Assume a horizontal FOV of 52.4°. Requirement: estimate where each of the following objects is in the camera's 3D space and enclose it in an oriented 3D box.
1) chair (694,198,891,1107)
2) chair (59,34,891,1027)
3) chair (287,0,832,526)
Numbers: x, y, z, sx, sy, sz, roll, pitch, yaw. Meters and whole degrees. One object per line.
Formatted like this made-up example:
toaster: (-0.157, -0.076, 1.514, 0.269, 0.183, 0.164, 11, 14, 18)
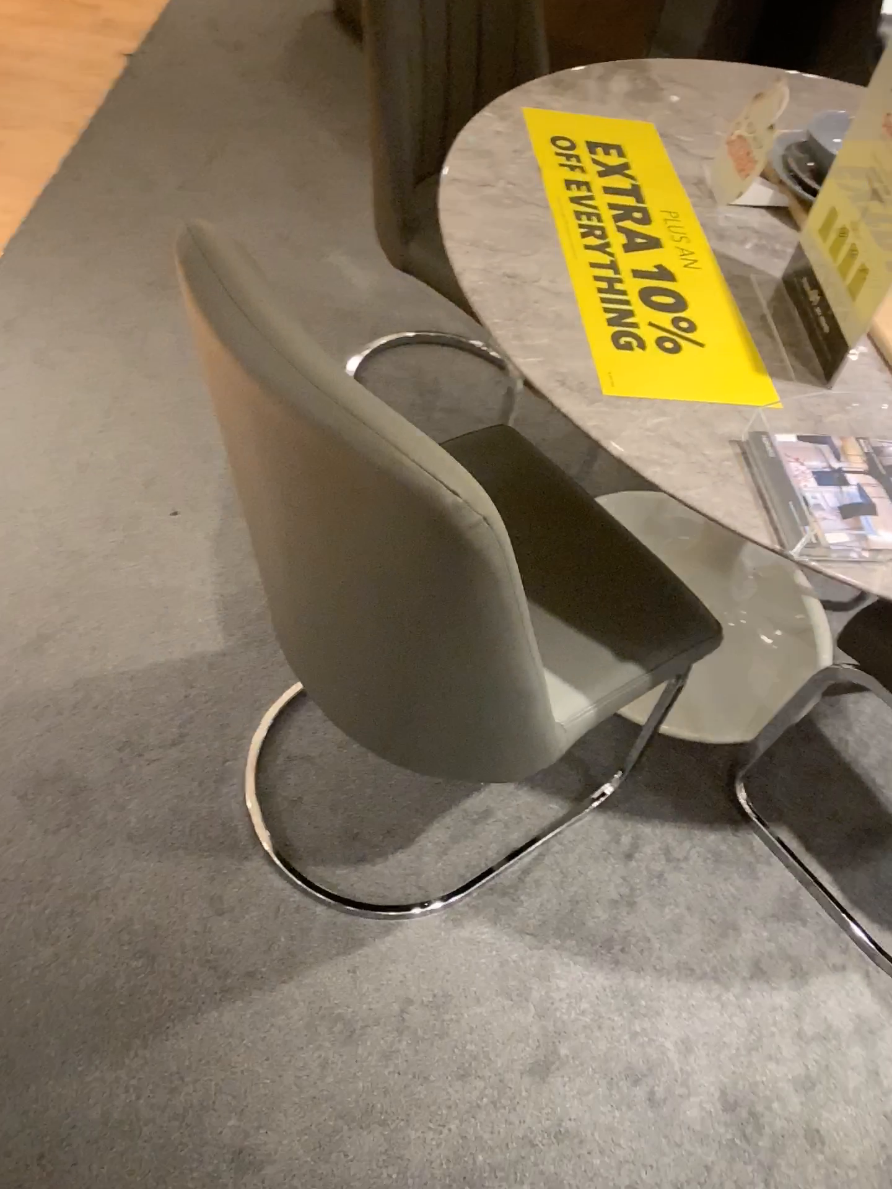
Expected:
chair: (0.850, 0.117, 1.126, 0.522, 0.884, 0.581, -25, 61, -28)
chair: (0.037, -0.037, 1.074, 0.631, 0.884, 0.553, -26, 61, -28)
chair: (0.115, -0.710, 1.643, 0.523, 0.884, 0.580, -34, 66, -32)
